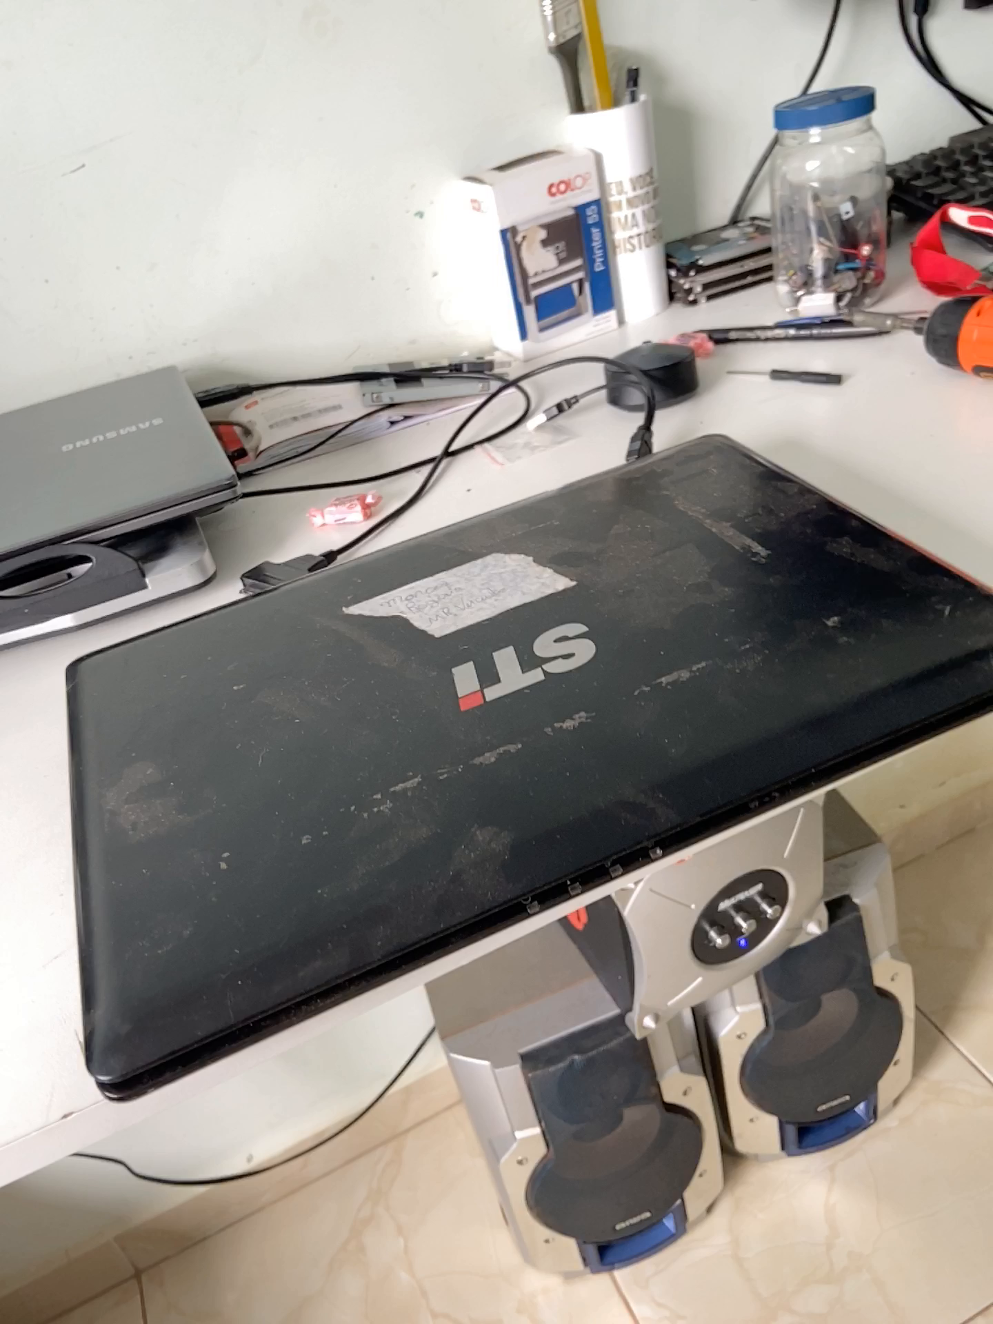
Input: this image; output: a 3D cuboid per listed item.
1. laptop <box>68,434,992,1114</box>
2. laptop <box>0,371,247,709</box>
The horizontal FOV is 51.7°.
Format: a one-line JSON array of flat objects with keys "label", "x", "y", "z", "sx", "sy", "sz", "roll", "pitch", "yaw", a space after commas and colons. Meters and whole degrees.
[{"label": "laptop", "x": 0.005, "y": 0.004, "z": 0.408, "sx": 0.337, "sy": 0.011, "sz": 0.231, "roll": -21, "pitch": 37, "yaw": -12}, {"label": "laptop", "x": -0.337, "y": -0.093, "z": 0.591, "sx": 0.344, "sy": 0.006, "sz": 0.228, "roll": -22, "pitch": 35, "yaw": -17}]
